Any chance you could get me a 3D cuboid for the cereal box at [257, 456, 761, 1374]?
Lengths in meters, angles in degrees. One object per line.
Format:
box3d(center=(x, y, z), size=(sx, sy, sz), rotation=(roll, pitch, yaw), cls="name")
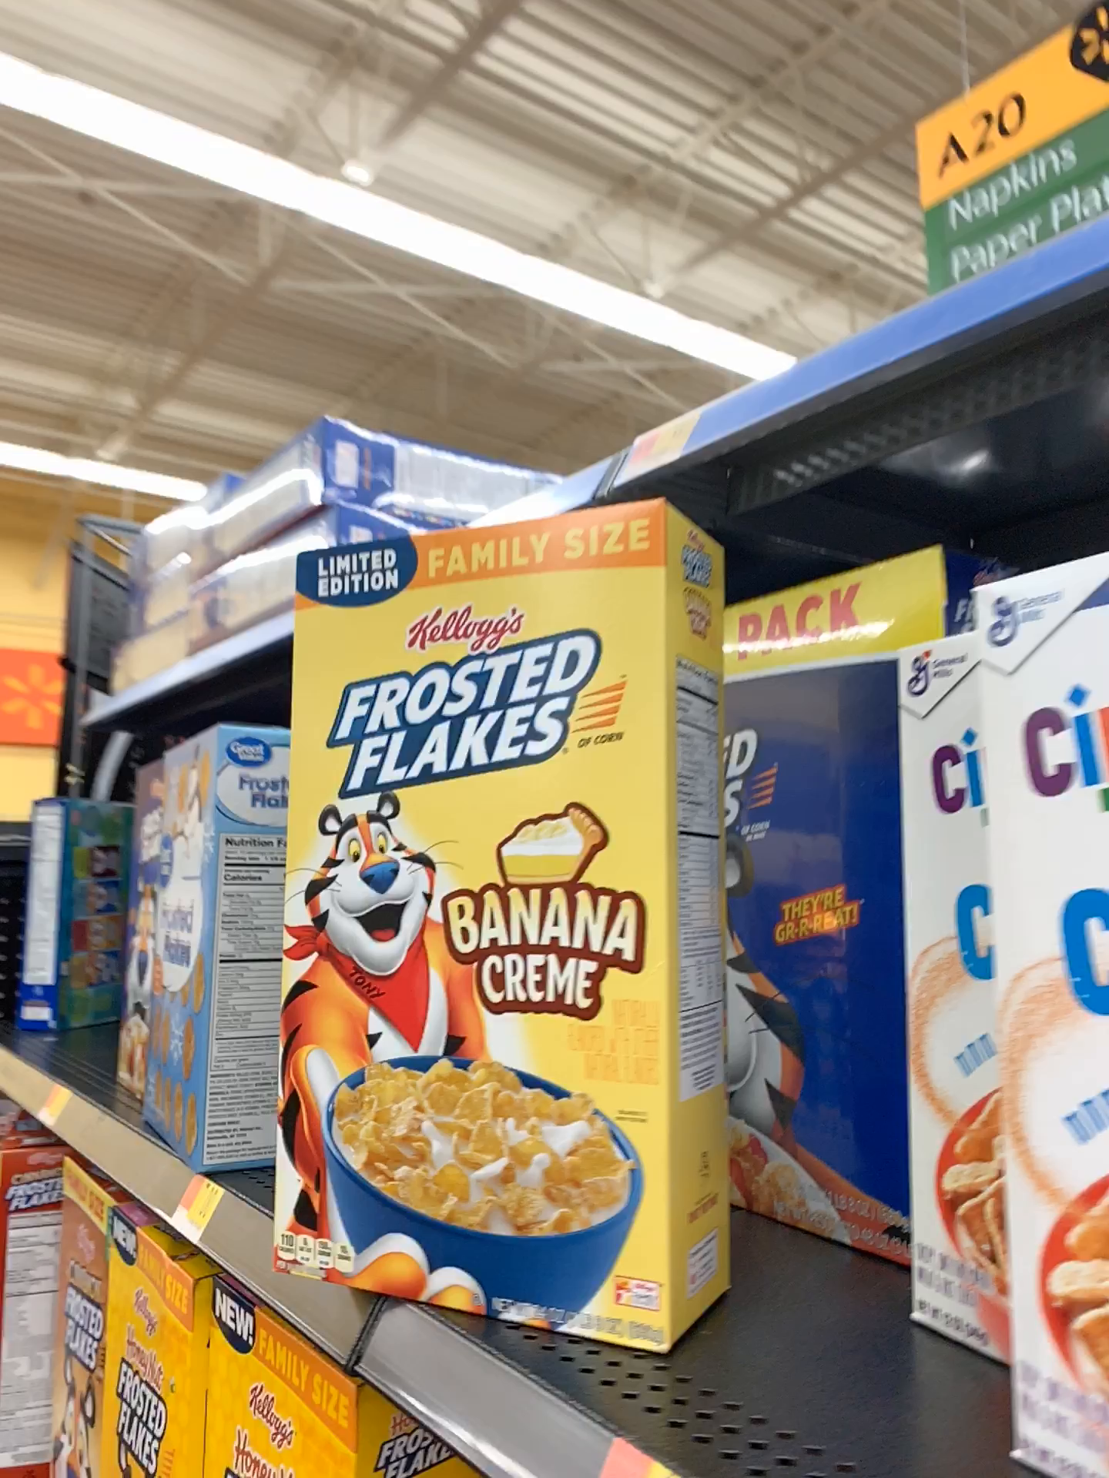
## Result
box3d(center=(-0.020, 0.066, 0.508), size=(0.200, 0.341, 0.080), rotation=(-3, -8, 26), cls="cereal box")
